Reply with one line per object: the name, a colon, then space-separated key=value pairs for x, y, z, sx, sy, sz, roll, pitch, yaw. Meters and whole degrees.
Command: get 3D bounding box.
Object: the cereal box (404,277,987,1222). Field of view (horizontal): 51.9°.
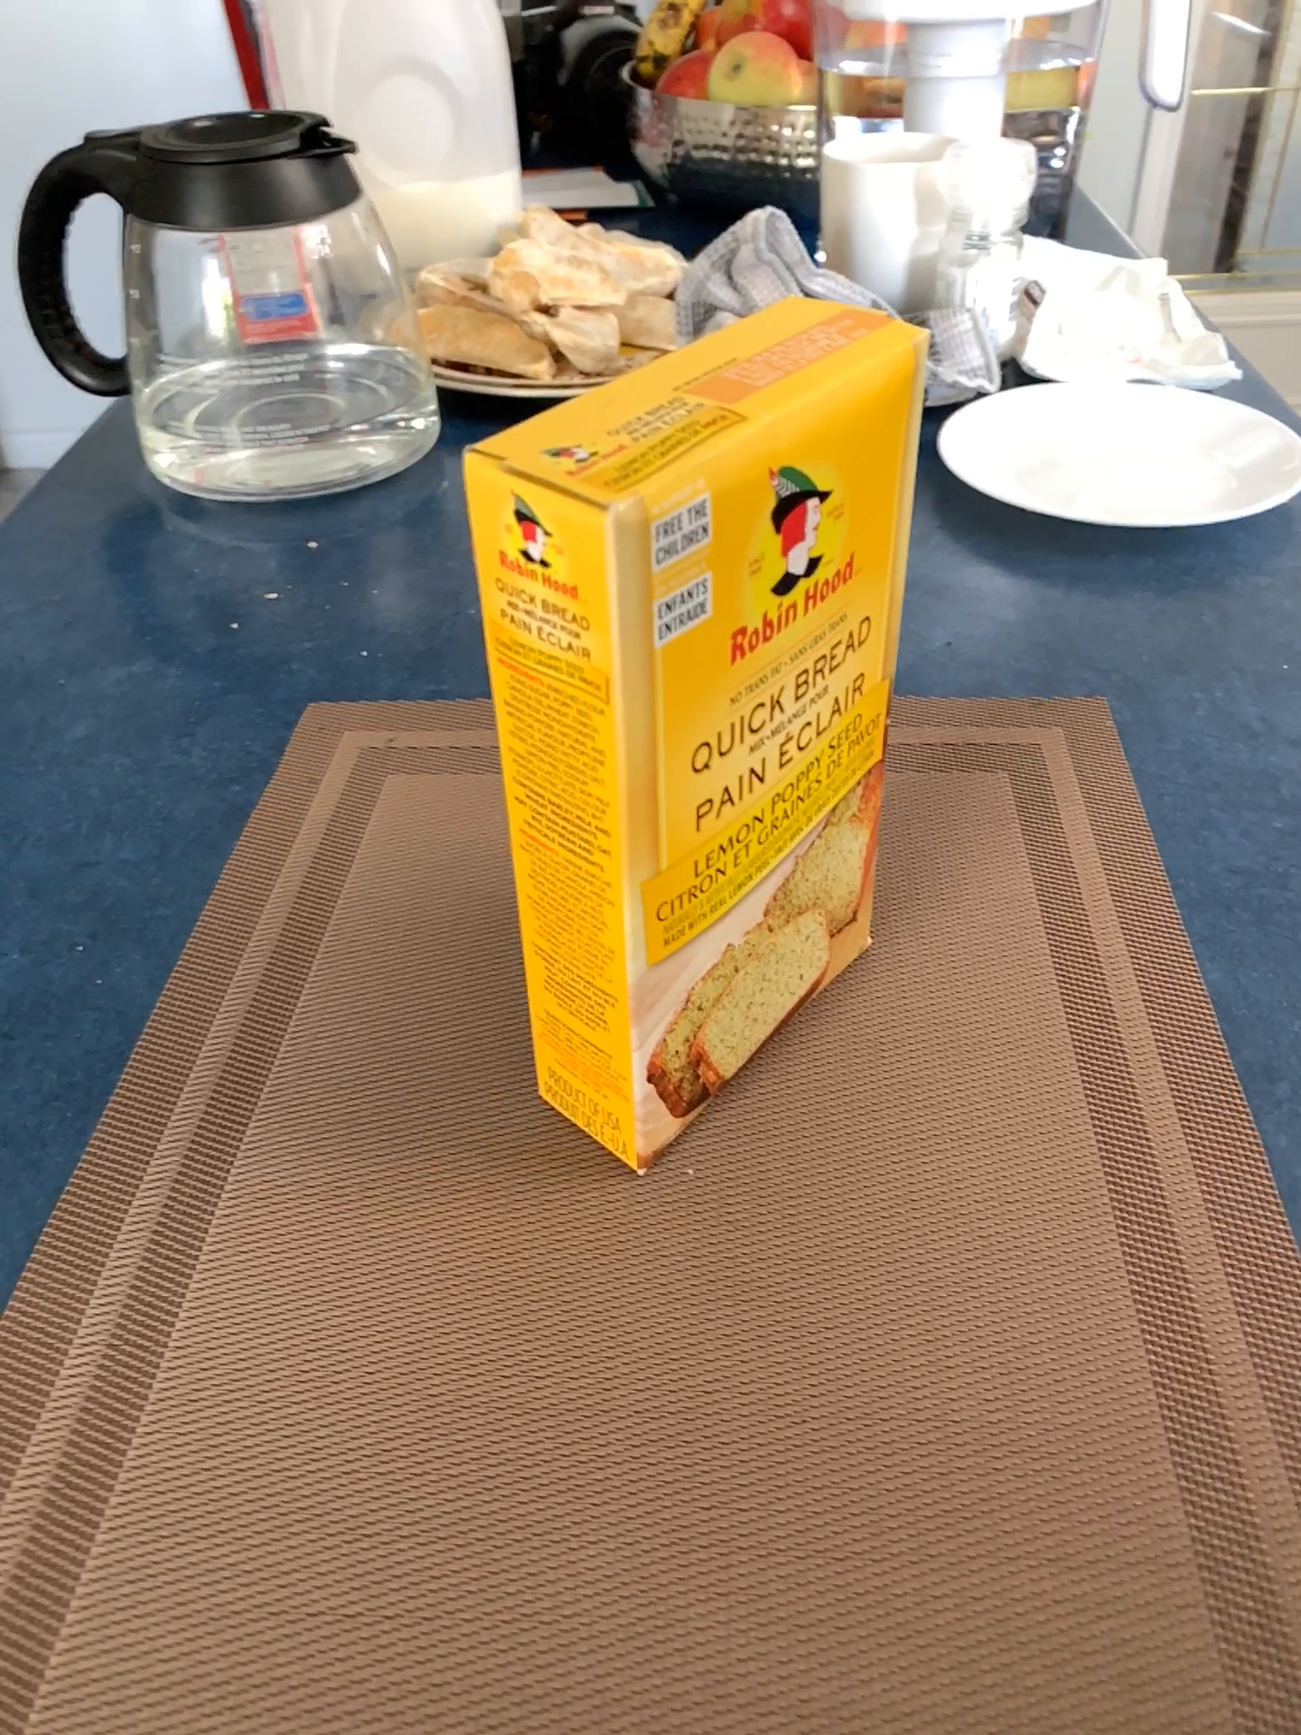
cereal box: x=0.019 y=-0.025 z=0.313 sx=0.040 sy=0.178 sz=0.131 roll=26 pitch=47 yaw=32
